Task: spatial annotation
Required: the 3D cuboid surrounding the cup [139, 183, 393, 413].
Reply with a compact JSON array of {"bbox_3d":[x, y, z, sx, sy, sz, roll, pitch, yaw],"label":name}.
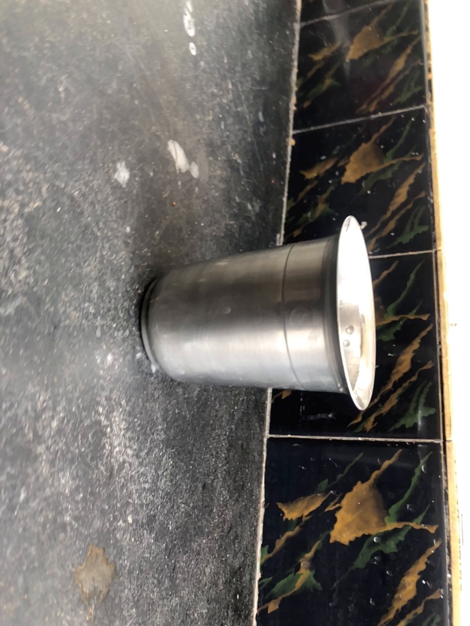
[{"bbox_3d":[0.021,-0.002,0.265,0.091,0.099,0.090,-3,90,-68],"label":"cup"}]
